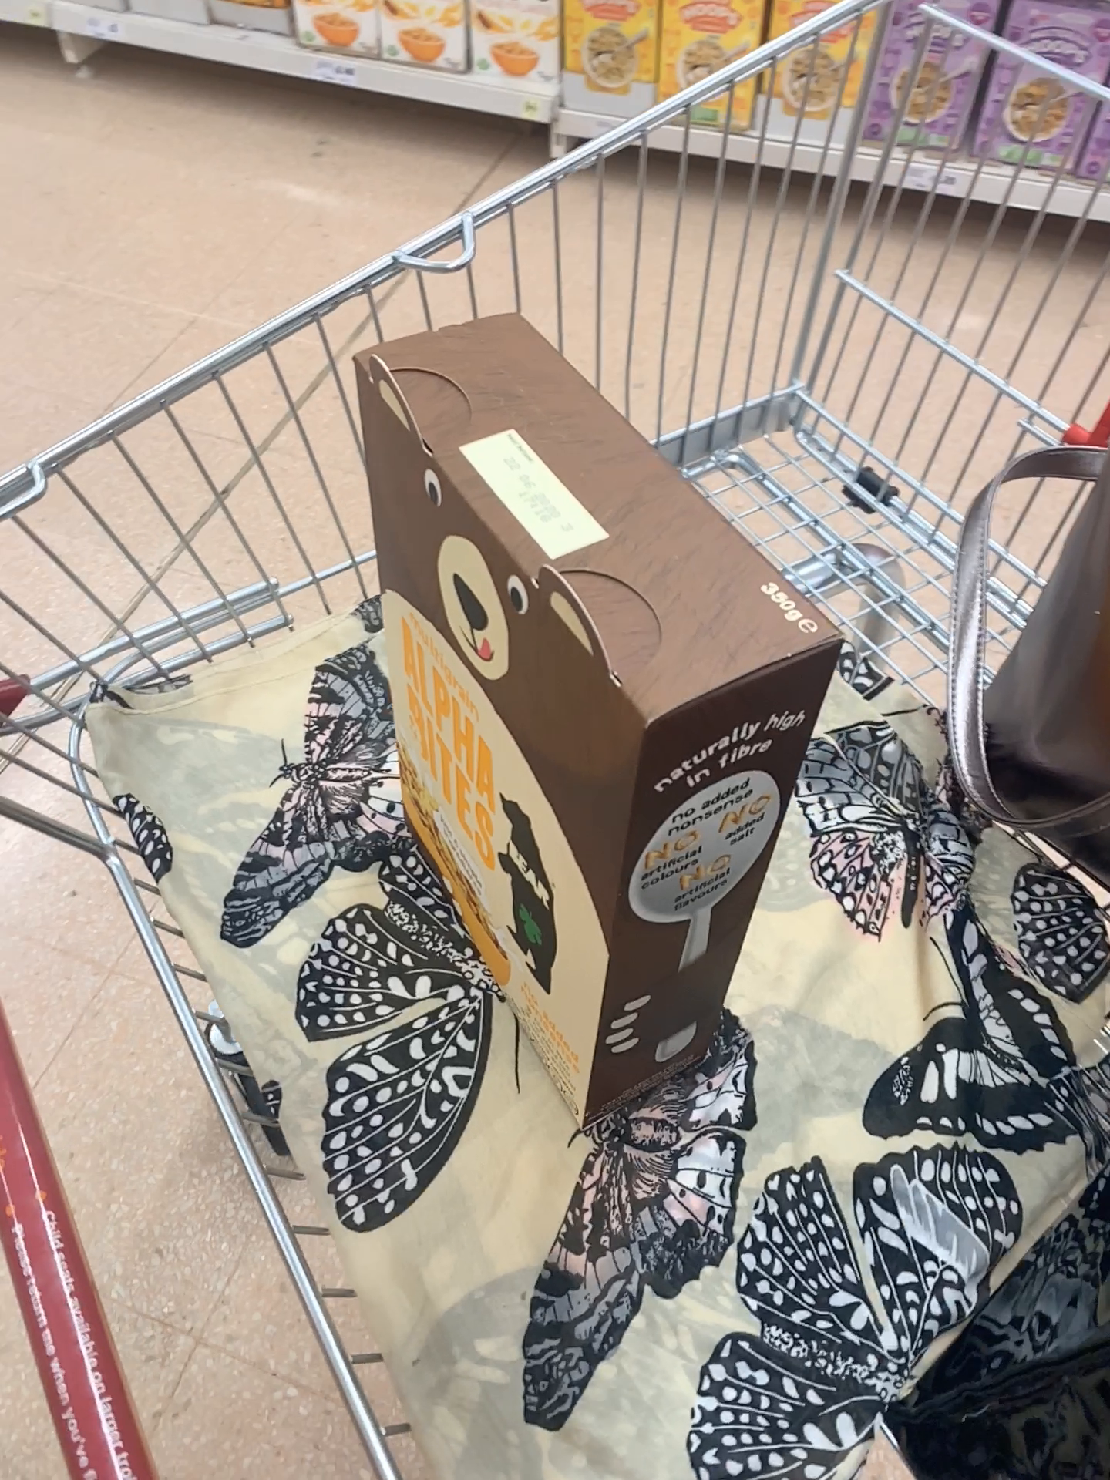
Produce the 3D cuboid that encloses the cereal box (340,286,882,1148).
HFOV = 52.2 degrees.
[{"bbox_3d":[0.000,0.010,0.463,0.070,0.298,0.201,-23,56,-21],"label":"cereal box"}]
